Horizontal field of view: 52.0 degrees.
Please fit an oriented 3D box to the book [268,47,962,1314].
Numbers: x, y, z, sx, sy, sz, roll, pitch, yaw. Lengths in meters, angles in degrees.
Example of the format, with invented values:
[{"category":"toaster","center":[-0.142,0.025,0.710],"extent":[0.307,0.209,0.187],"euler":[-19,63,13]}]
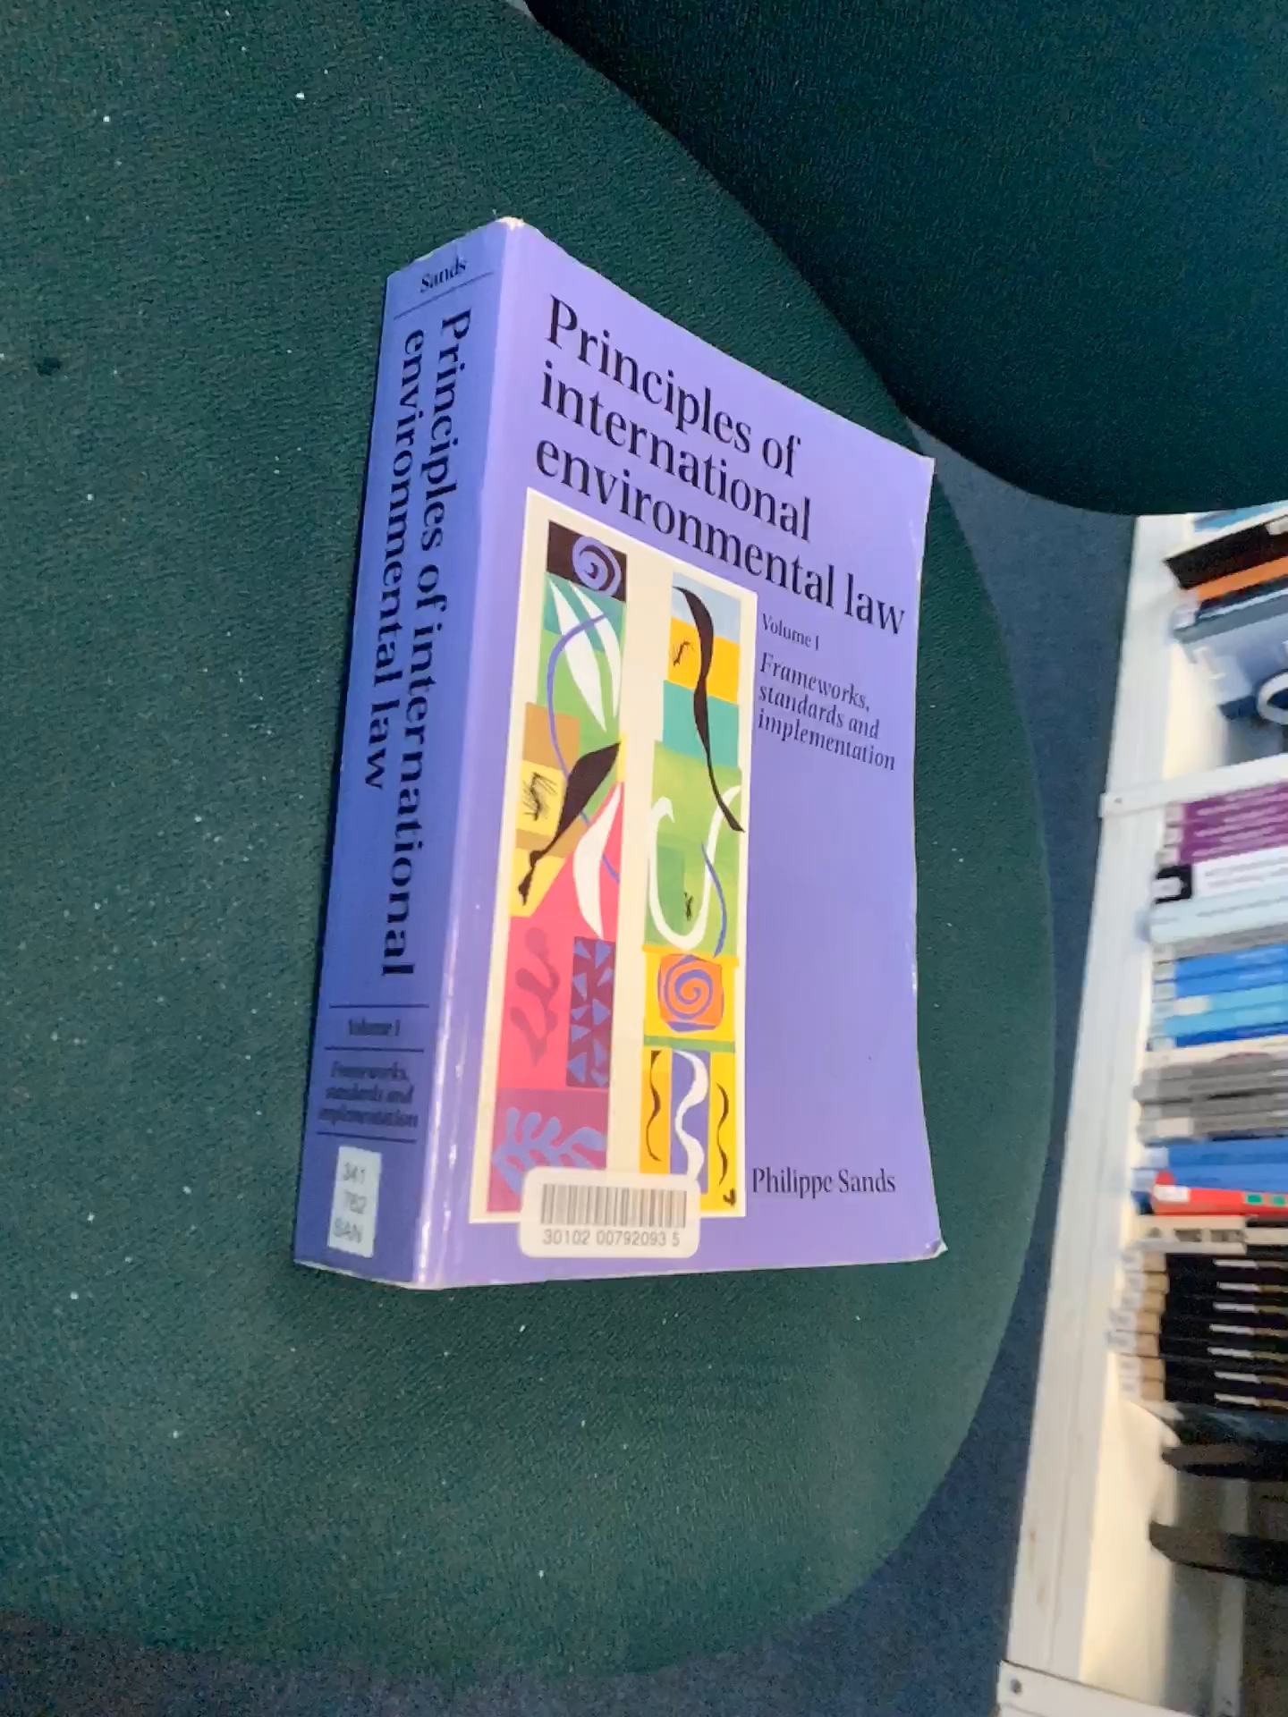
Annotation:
[{"category":"book","center":[0.007,-0.033,0.347],"extent":[0.181,0.050,0.270],"euler":[12,75,-42]}]
